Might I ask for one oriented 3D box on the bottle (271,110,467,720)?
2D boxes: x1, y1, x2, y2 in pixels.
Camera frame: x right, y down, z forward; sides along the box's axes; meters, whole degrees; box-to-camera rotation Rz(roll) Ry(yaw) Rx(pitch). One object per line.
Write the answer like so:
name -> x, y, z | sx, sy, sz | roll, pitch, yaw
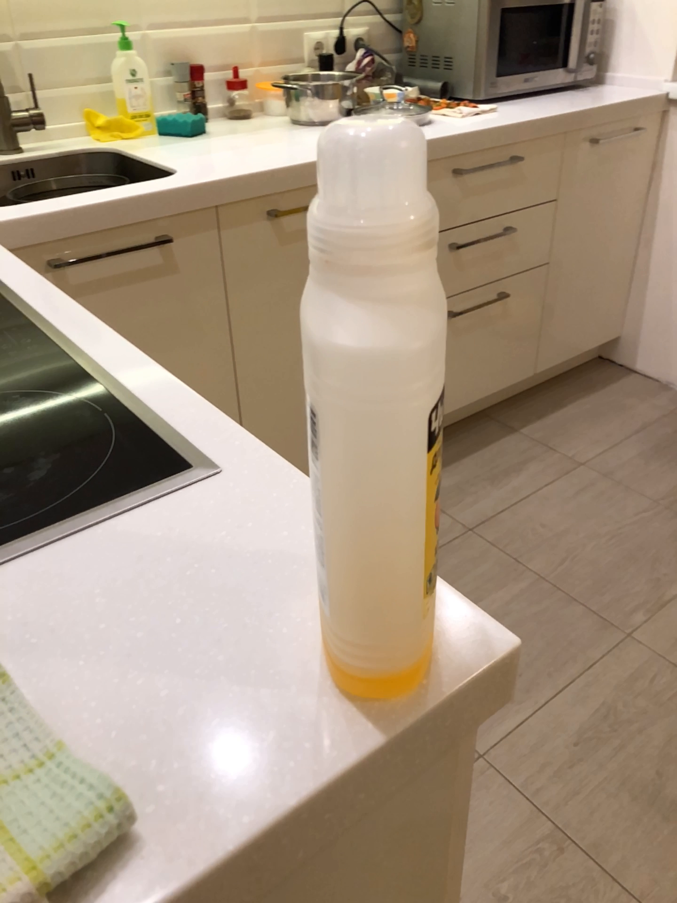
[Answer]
bottle -> 0.017, -0.006, 0.344 | 0.061, 0.264, 0.102 | 0, 32, 4
